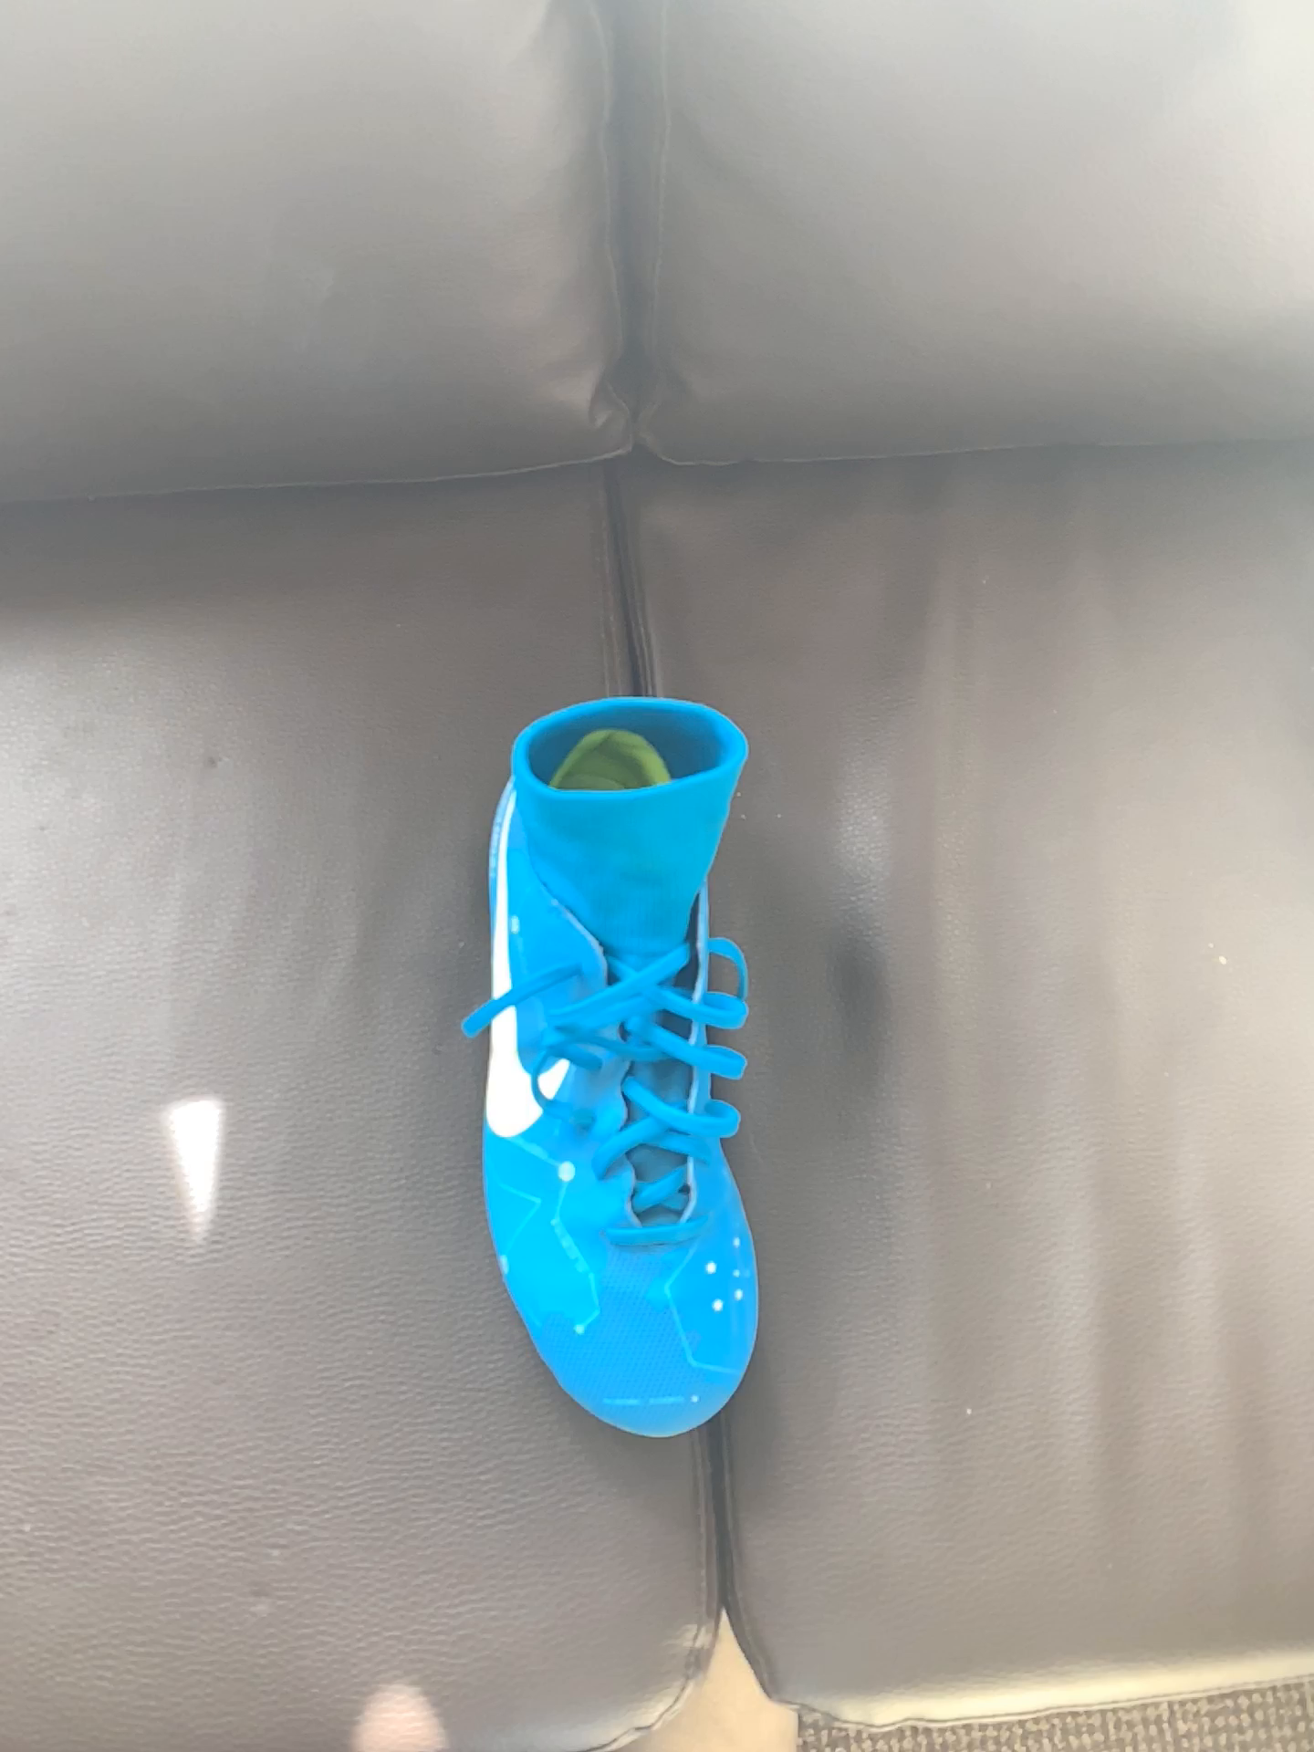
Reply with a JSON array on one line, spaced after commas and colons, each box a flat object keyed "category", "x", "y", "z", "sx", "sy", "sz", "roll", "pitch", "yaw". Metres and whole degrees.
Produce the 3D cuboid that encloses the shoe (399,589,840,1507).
[{"category": "shoe", "x": -0.019, "y": 0.052, "z": 0.428, "sx": 0.098, "sy": 0.120, "sz": 0.251, "roll": -5, "pitch": 71, "yaw": -4}]
